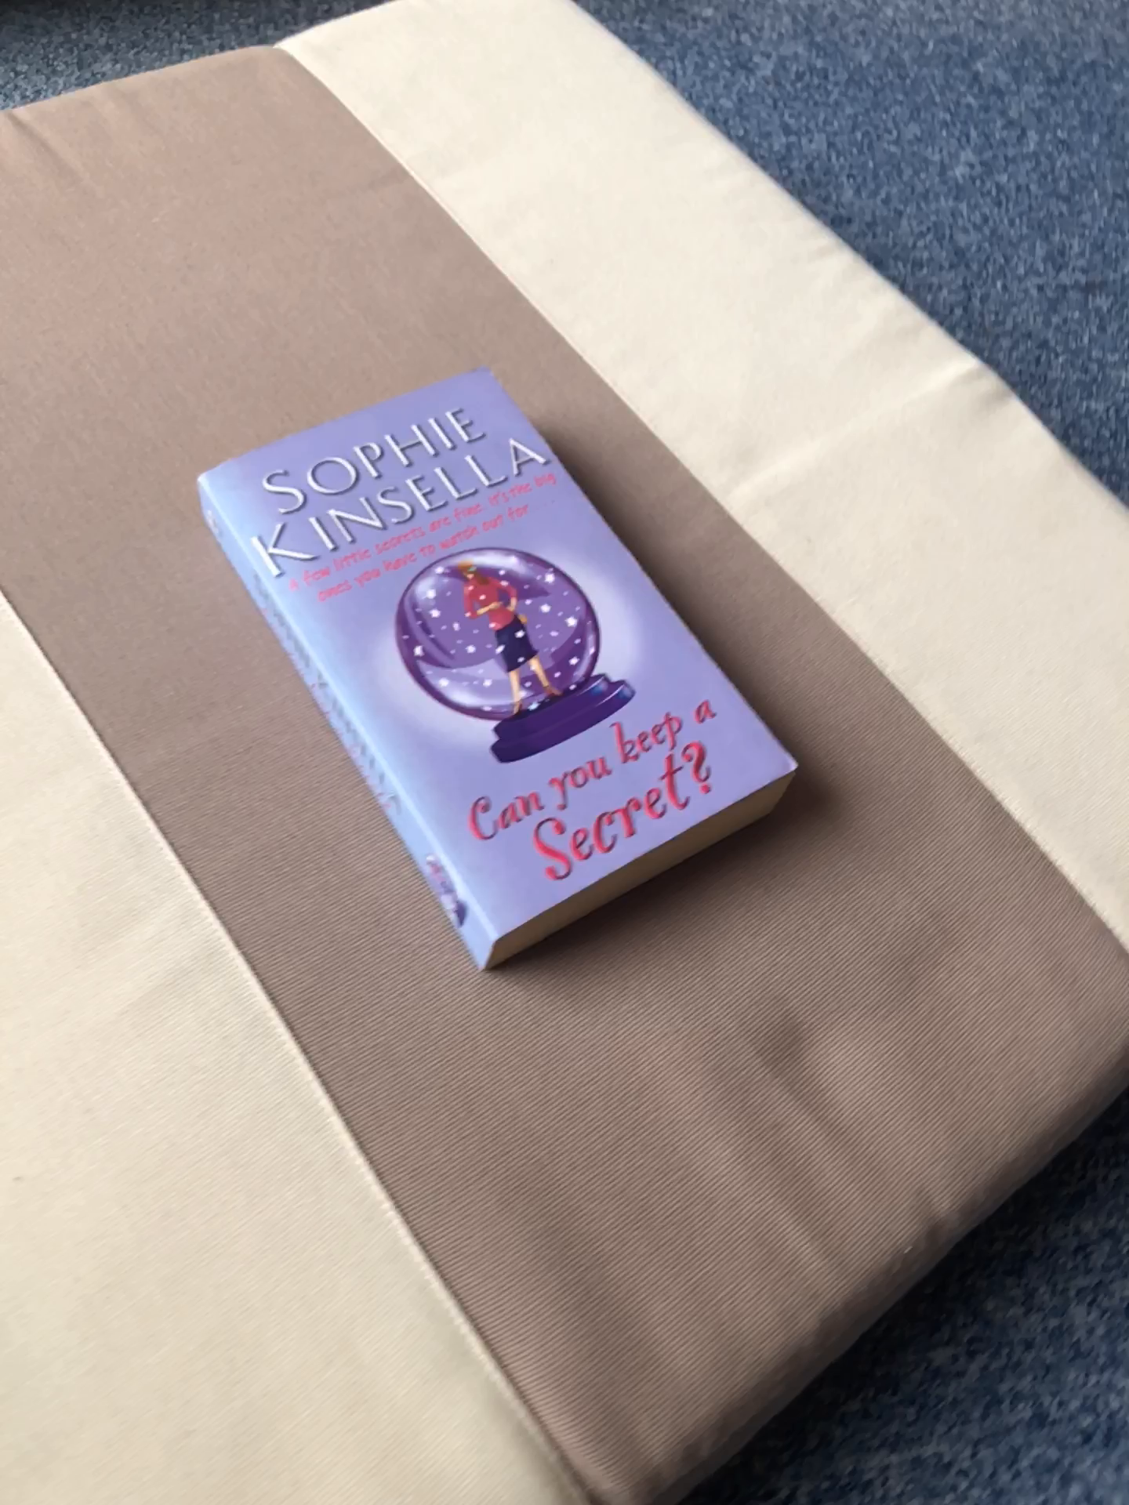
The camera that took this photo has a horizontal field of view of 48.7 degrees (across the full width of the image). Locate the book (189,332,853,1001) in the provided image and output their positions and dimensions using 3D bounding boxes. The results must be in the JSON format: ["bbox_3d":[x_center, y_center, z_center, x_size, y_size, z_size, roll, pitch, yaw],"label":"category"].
[{"bbox_3d":[-0.018,-0.035,0.370,0.110,0.040,0.180,-26,68,-23],"label":"book"}]
